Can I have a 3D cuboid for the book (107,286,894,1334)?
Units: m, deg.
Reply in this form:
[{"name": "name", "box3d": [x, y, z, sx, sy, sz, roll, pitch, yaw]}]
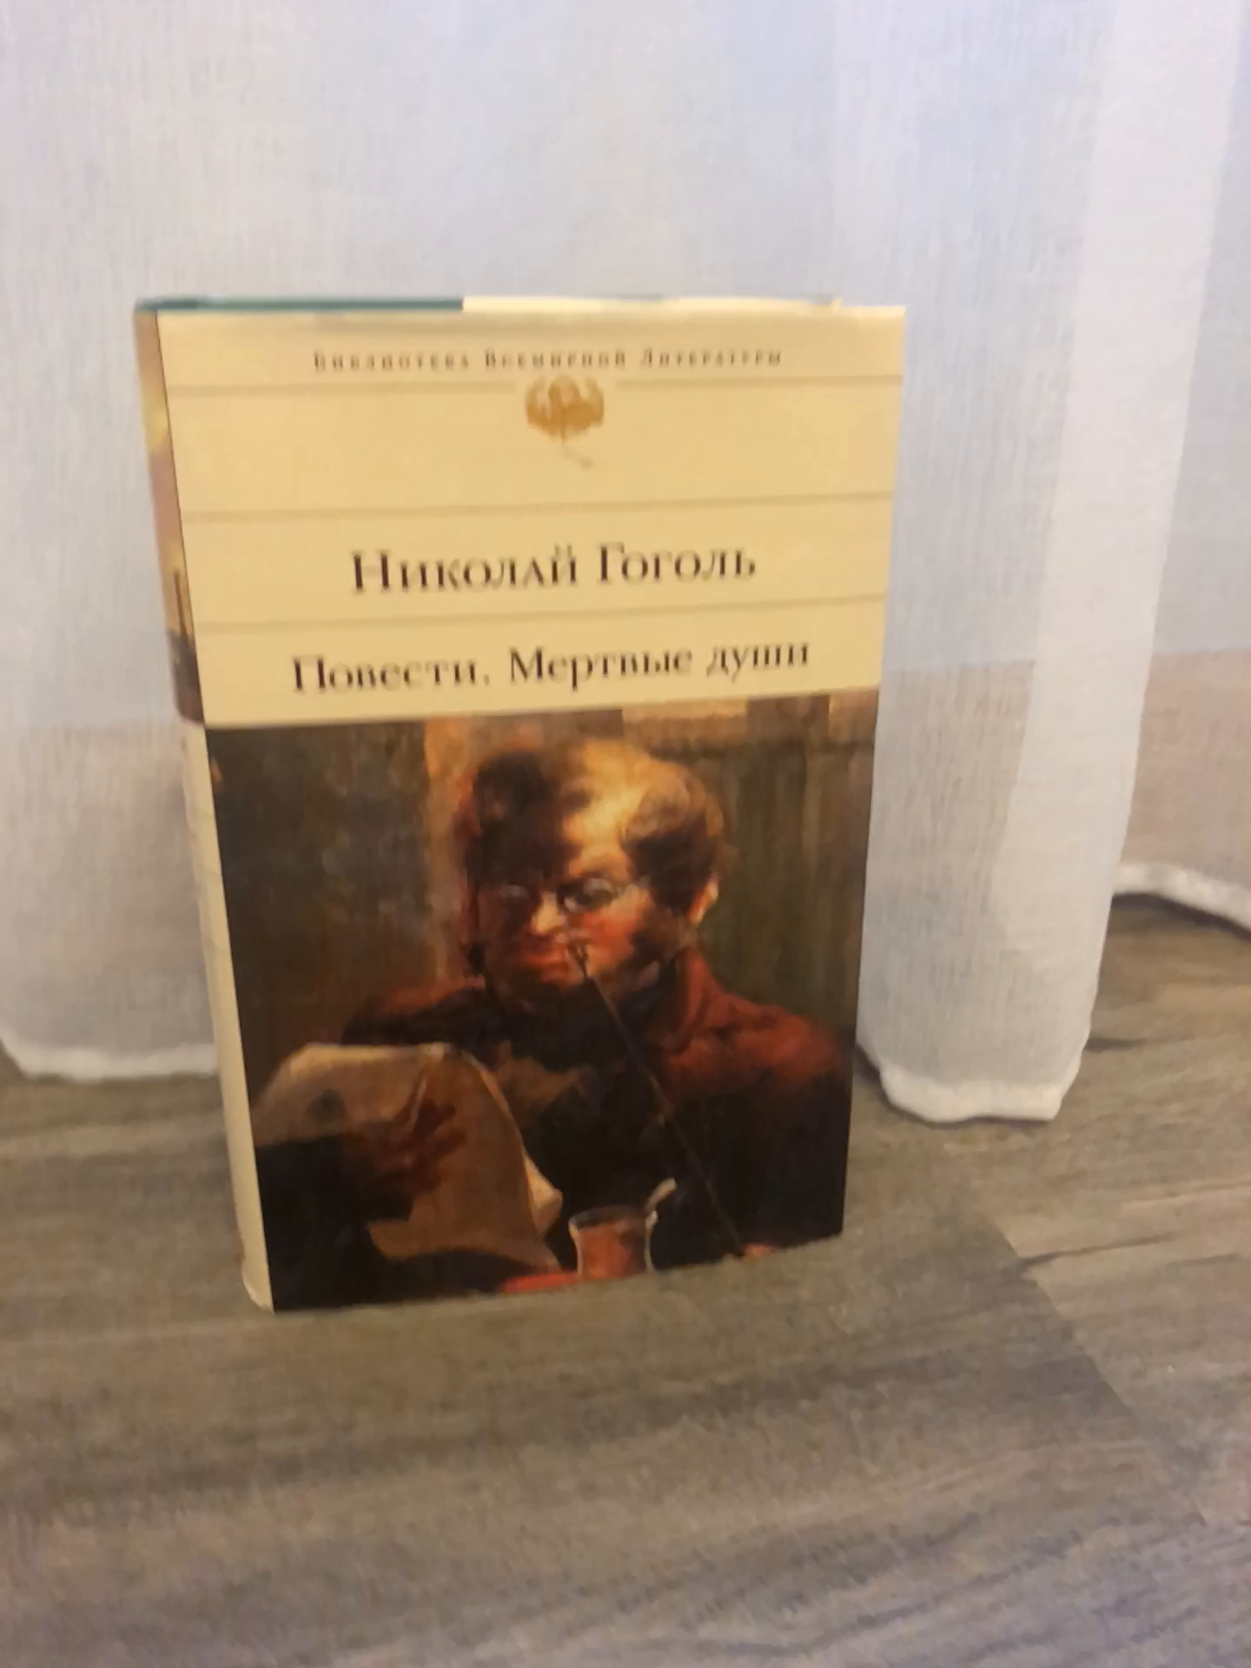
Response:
[{"name": "book", "box3d": [-0.022, -0.002, 0.294, 0.133, 0.209, 0.041, -5, 23, -11]}]
